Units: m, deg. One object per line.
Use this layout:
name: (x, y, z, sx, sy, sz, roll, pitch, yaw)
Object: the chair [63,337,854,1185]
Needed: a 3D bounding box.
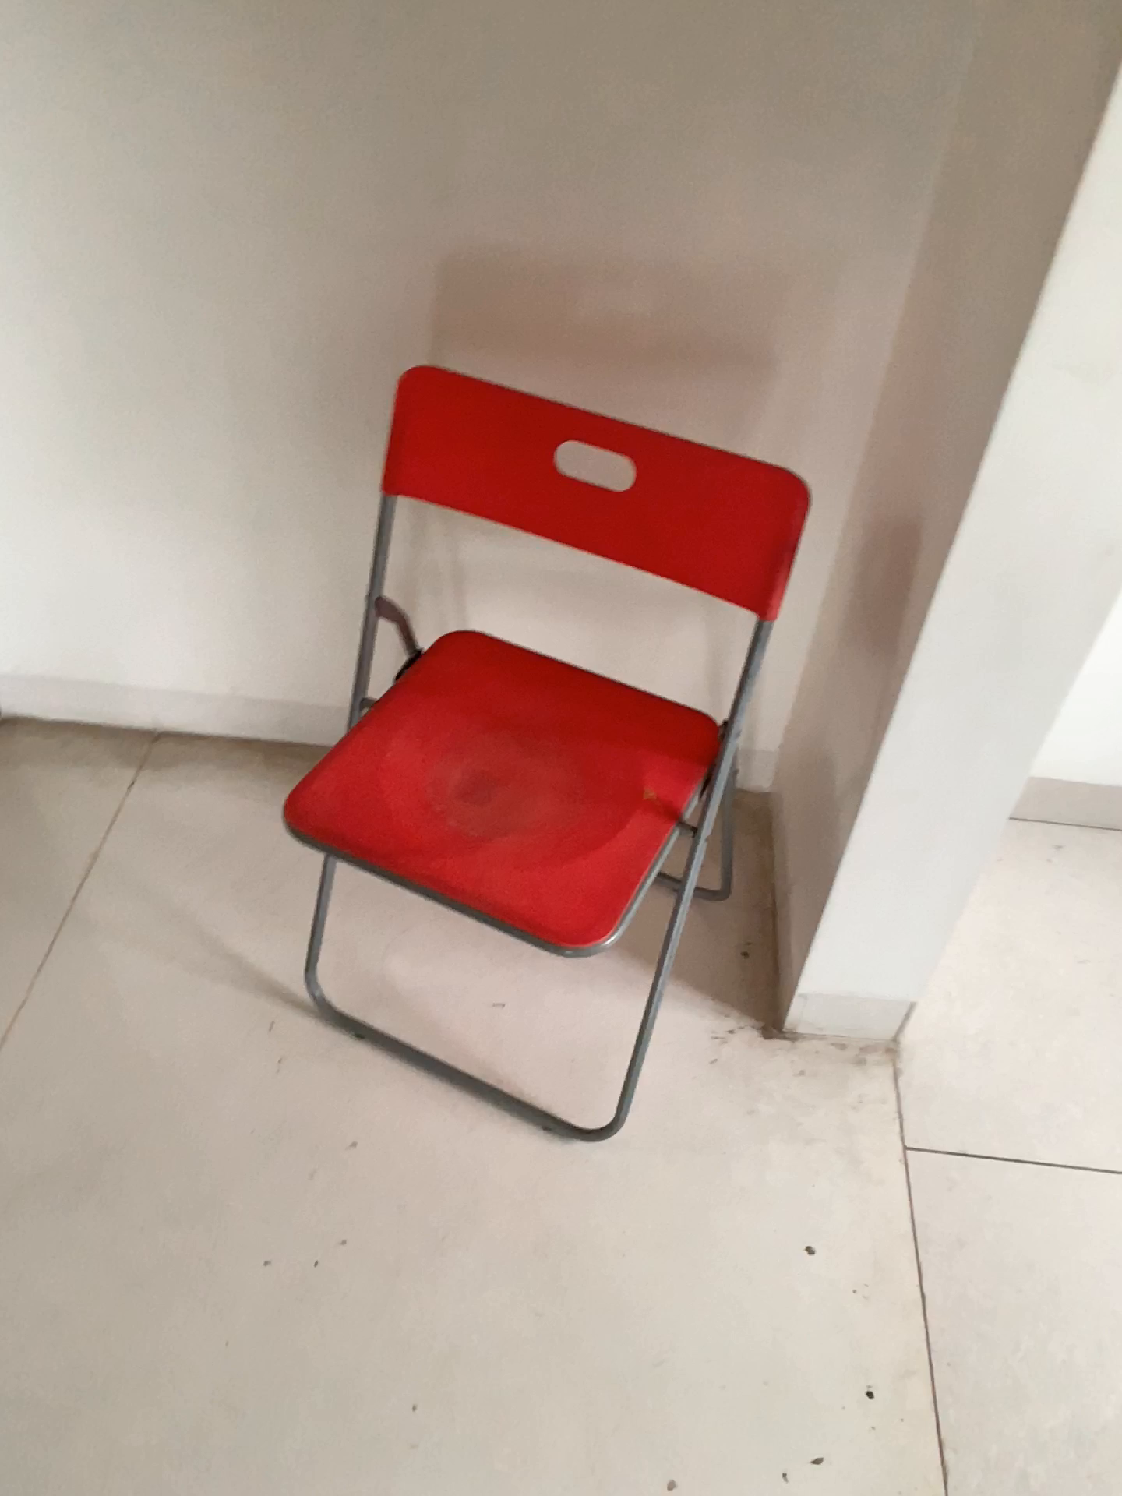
chair: (-0.076, 0.007, 1.237, 0.530, 0.608, 0.501, 21, 48, 16)
